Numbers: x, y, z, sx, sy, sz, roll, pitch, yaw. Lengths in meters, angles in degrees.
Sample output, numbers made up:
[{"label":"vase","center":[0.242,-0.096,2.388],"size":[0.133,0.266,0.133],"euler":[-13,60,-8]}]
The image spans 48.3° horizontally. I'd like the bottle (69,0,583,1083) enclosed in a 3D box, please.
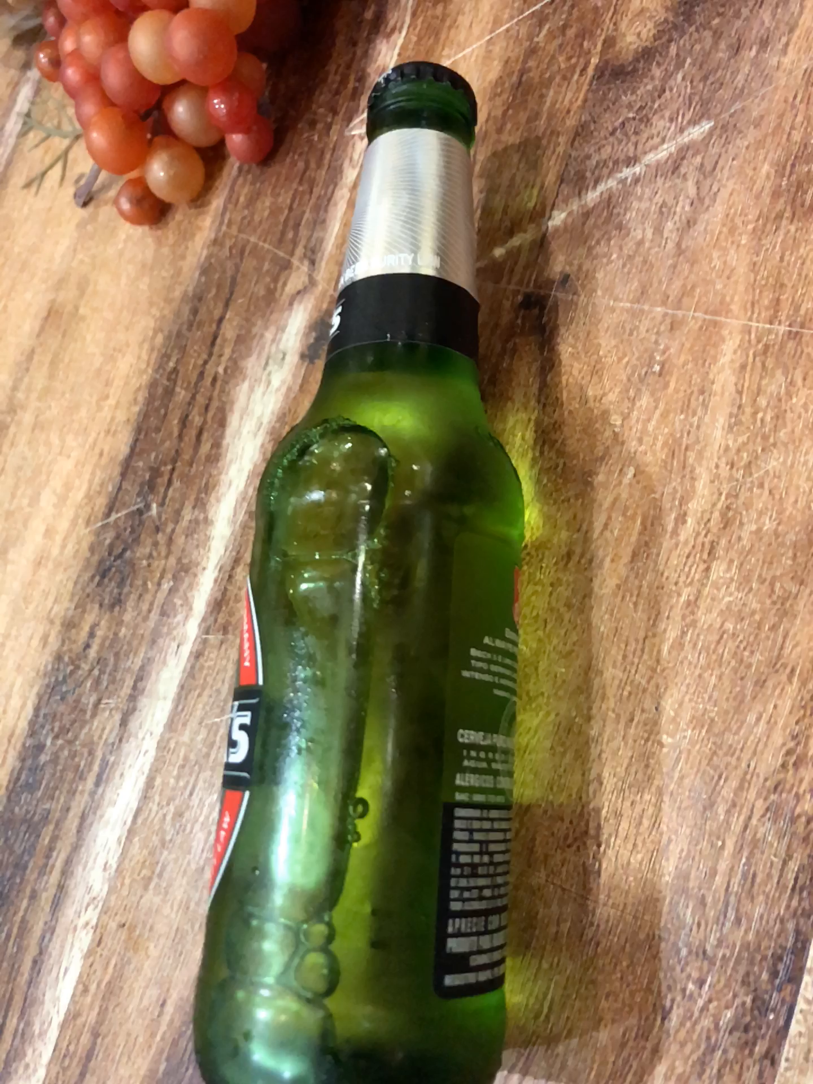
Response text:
[{"label":"bottle","center":[-0.007,-0.006,0.201],"size":[0.070,0.060,0.230],"euler":[-4,72,28]}]
